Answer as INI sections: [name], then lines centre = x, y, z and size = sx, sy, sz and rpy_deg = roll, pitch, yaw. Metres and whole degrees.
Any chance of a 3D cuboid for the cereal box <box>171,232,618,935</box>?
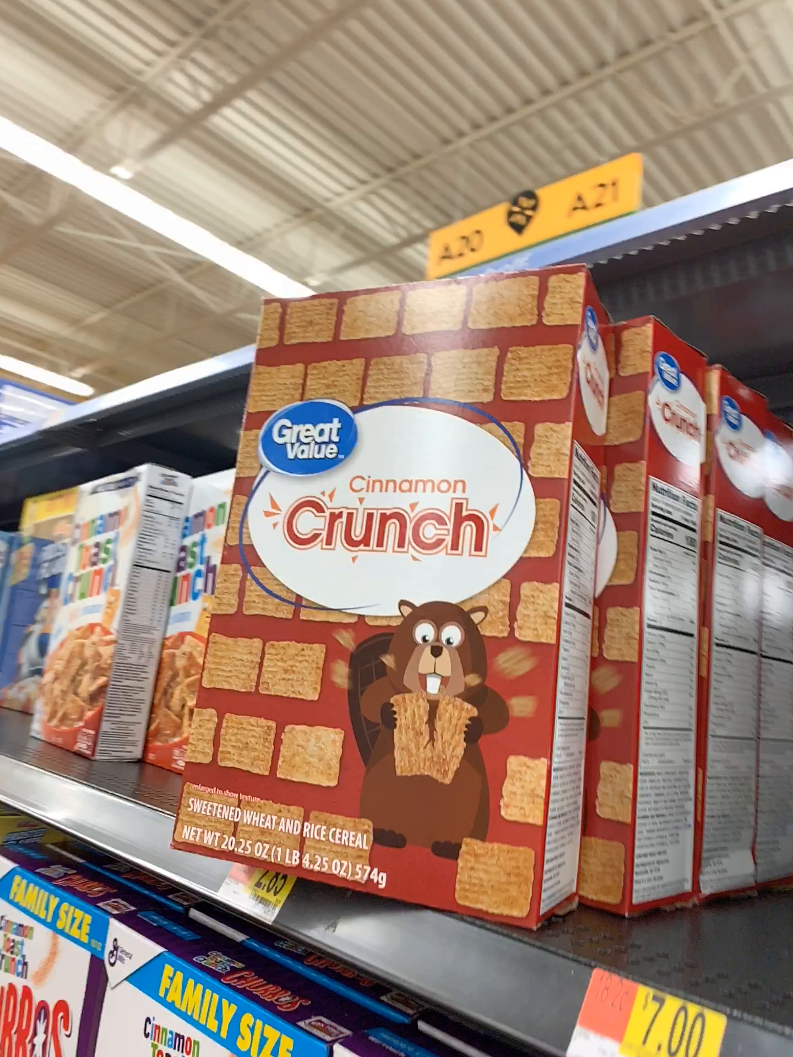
[cereal box]
centre = 0.008, 0.014, 0.444
size = 0.190, 0.331, 0.070
rpy_deg = 3, -13, 22
